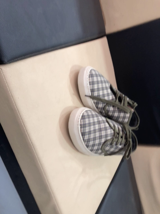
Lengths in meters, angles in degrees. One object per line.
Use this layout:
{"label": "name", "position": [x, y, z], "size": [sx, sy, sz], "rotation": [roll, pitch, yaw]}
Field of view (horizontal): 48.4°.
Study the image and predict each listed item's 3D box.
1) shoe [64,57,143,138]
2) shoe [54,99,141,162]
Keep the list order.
{"label": "shoe", "position": [0.085, -0.011, 0.502], "size": [0.262, 0.099, 0.100], "rotation": [41, 61, -47]}
{"label": "shoe", "position": [0.068, 0.074, 0.471], "size": [0.272, 0.099, 0.100], "rotation": [30, 70, -52]}
